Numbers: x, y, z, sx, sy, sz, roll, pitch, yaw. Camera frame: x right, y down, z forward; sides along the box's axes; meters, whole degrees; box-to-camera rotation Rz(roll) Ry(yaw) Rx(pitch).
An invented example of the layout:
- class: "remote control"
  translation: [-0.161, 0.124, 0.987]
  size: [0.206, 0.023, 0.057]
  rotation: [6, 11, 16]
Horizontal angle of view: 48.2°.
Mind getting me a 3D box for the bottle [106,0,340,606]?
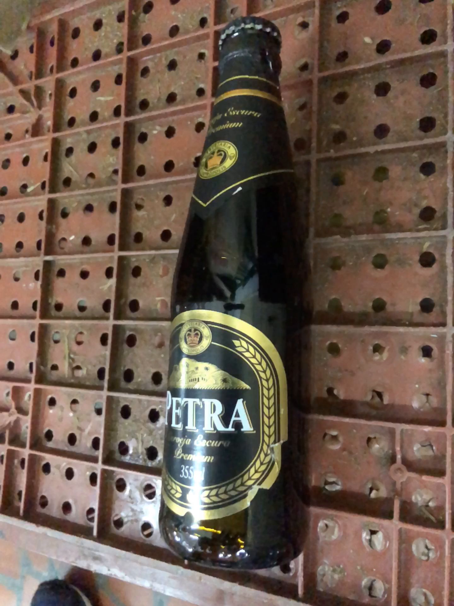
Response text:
- class: "bottle"
  translation: [0.004, -0.016, 0.211]
  size: [0.070, 0.060, 0.250]
  rotation: [-2, 82, 28]
